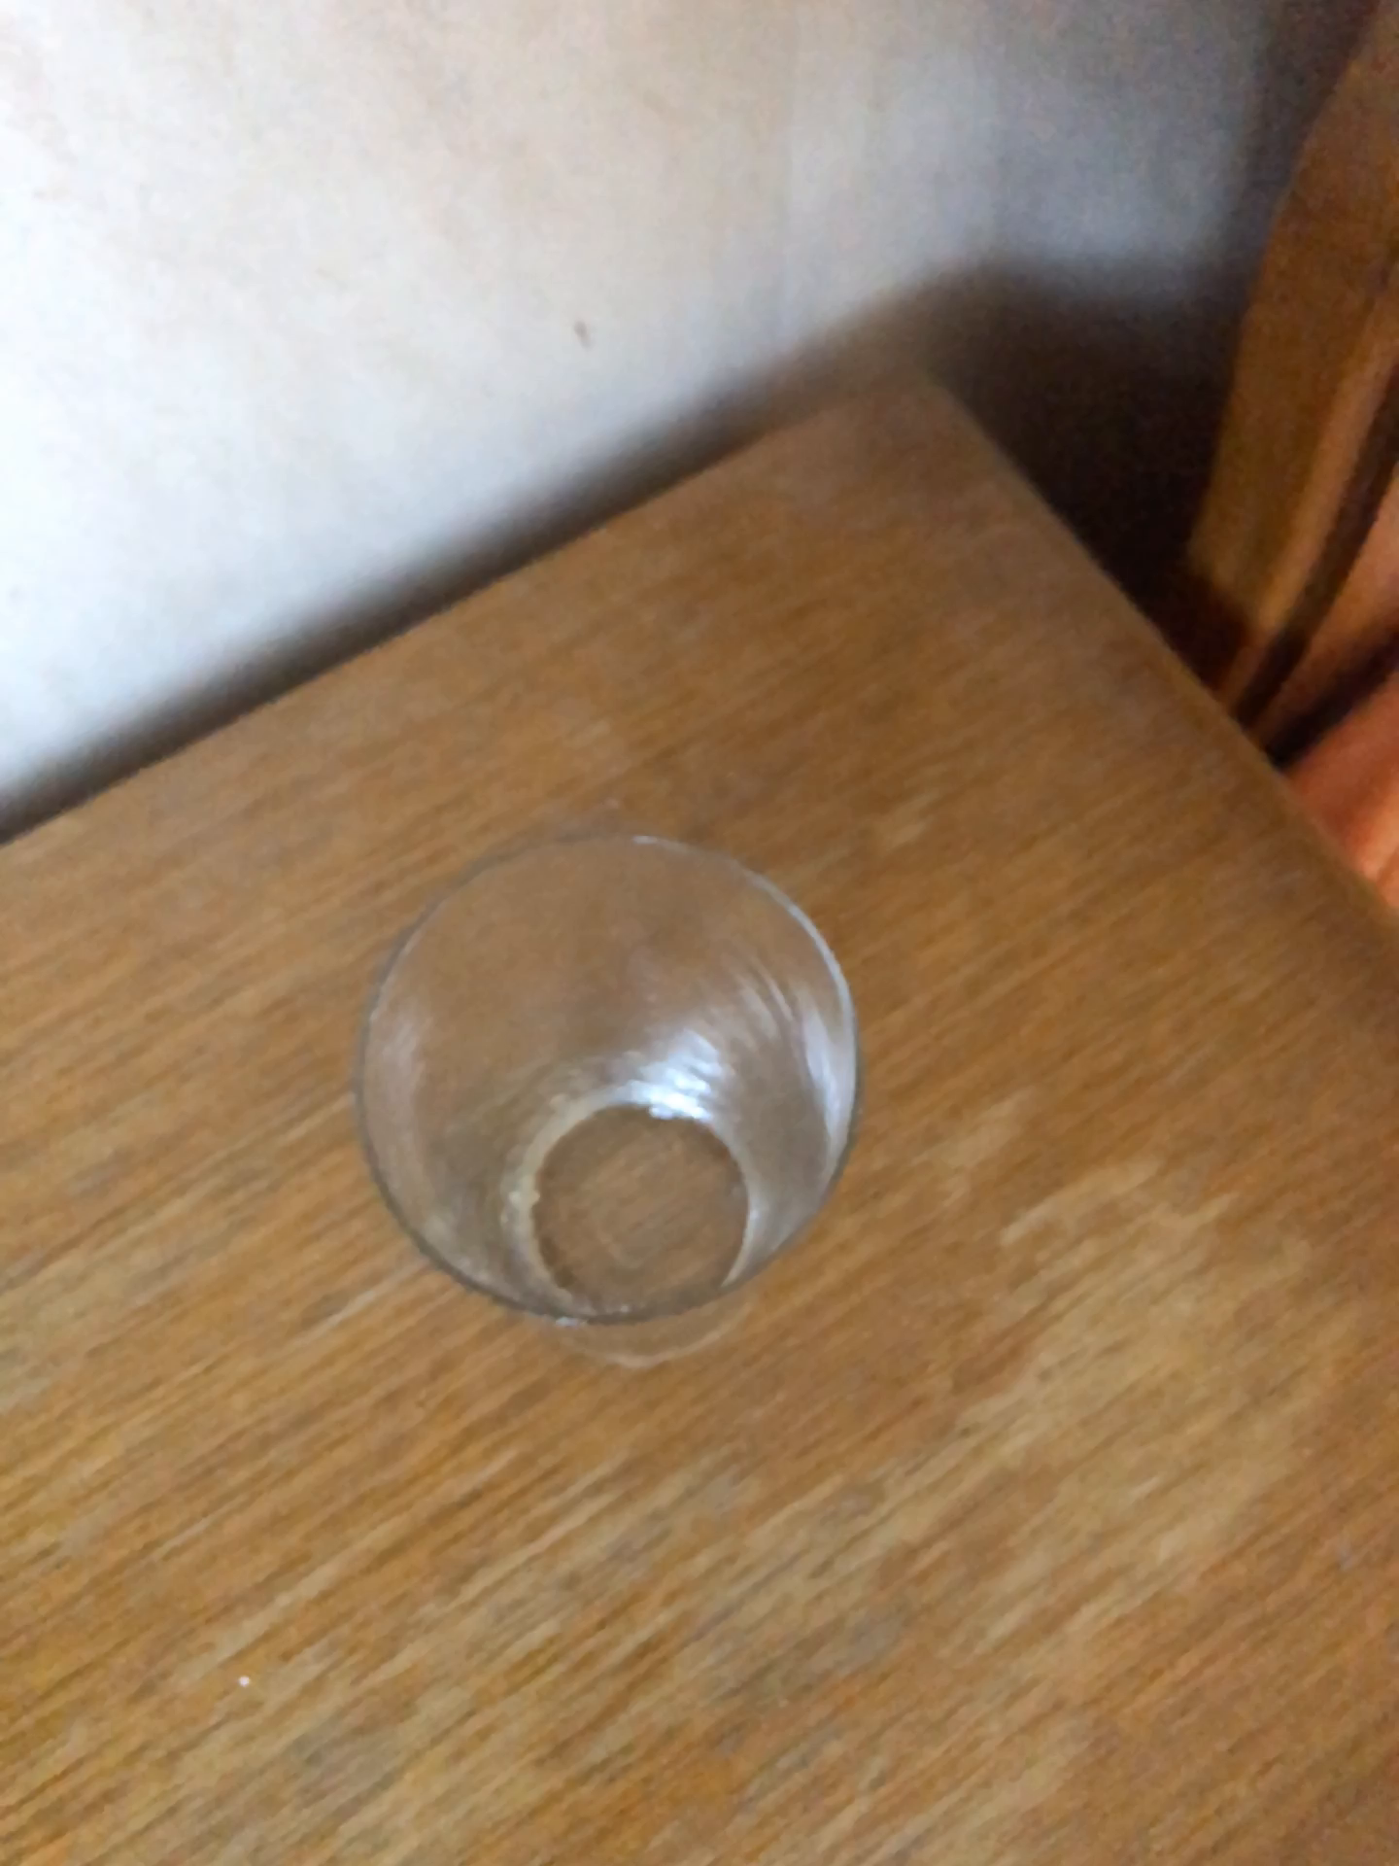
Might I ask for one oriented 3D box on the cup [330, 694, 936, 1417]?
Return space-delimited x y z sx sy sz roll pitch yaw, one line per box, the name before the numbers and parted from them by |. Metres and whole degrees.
cup | -0.012 0.030 0.279 0.070 0.120 0.080 -13 68 -5
